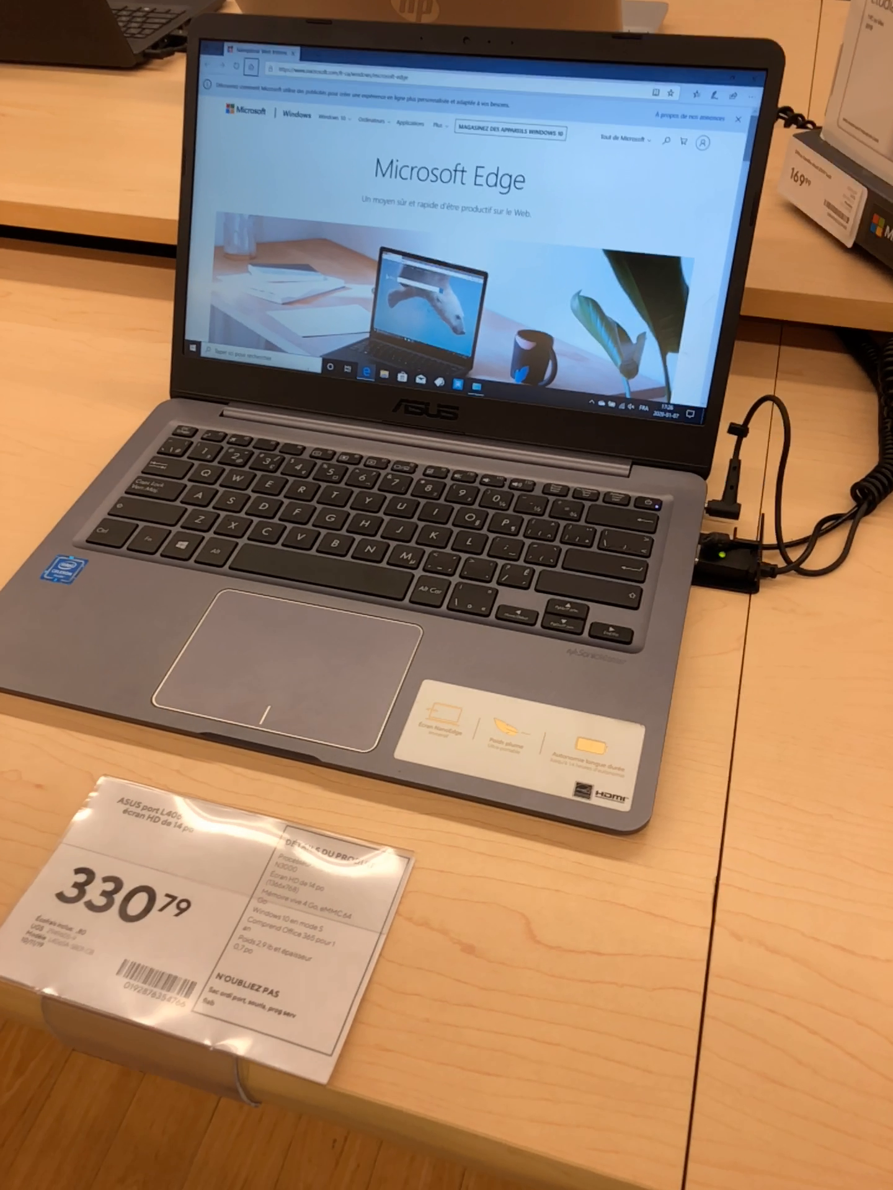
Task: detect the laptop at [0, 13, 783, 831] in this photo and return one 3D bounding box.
[{"bbox_3d":[-0.032,-0.113,0.459,0.309,0.173,0.328,11,49,13],"label":"laptop"}]
